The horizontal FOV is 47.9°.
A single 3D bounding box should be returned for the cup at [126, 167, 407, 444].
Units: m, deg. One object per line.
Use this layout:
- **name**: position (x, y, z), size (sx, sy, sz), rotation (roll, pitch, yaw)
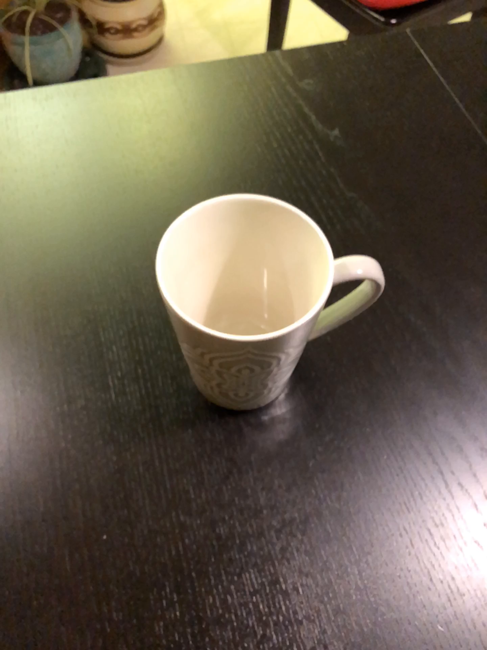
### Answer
- **cup**: position (0.007, -0.007, 0.354), size (0.130, 0.130, 0.100), rotation (-13, 61, -9)
